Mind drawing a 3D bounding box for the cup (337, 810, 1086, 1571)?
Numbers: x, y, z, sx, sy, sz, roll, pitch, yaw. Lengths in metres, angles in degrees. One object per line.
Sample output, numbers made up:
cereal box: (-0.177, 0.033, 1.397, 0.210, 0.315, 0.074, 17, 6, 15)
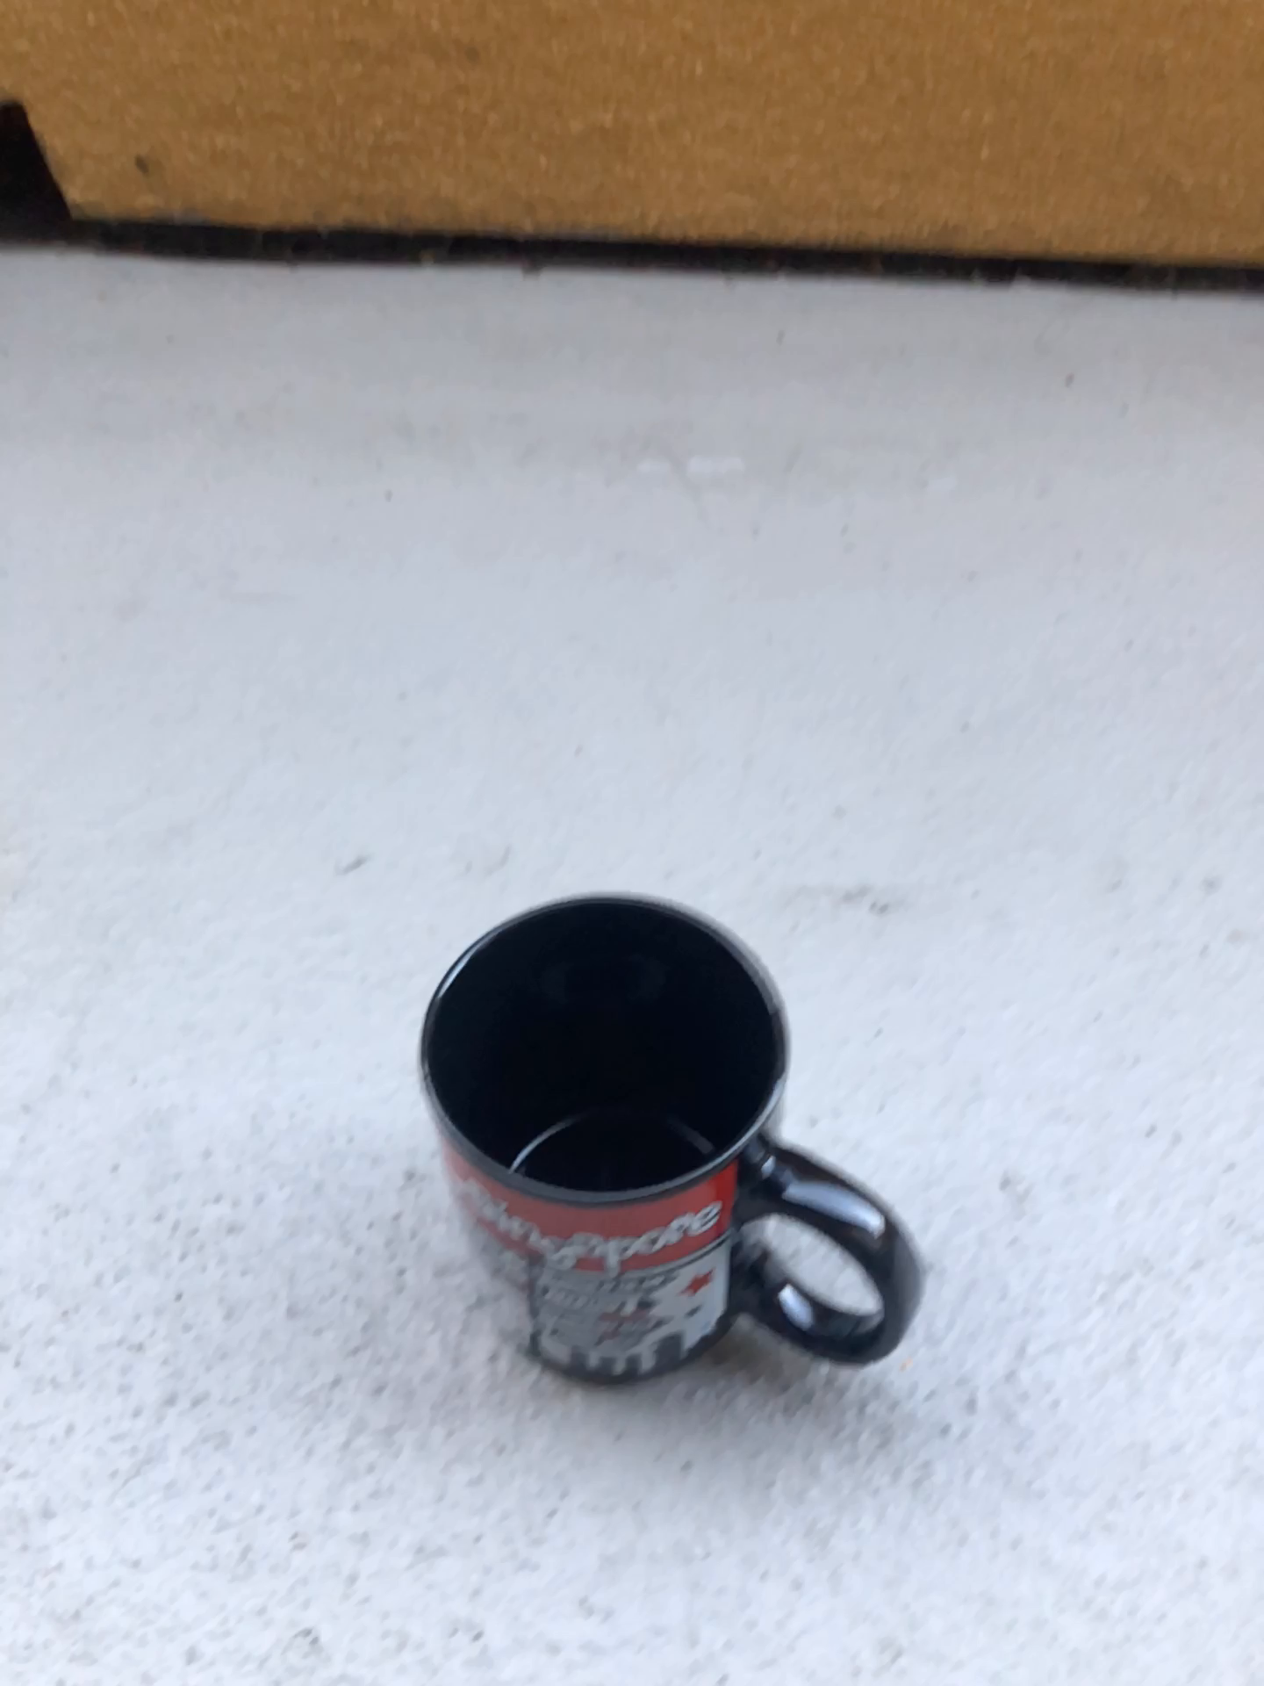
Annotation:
cup: (0.017, 0.079, 0.328, 0.130, 0.110, 0.080, 25, 54, 22)
